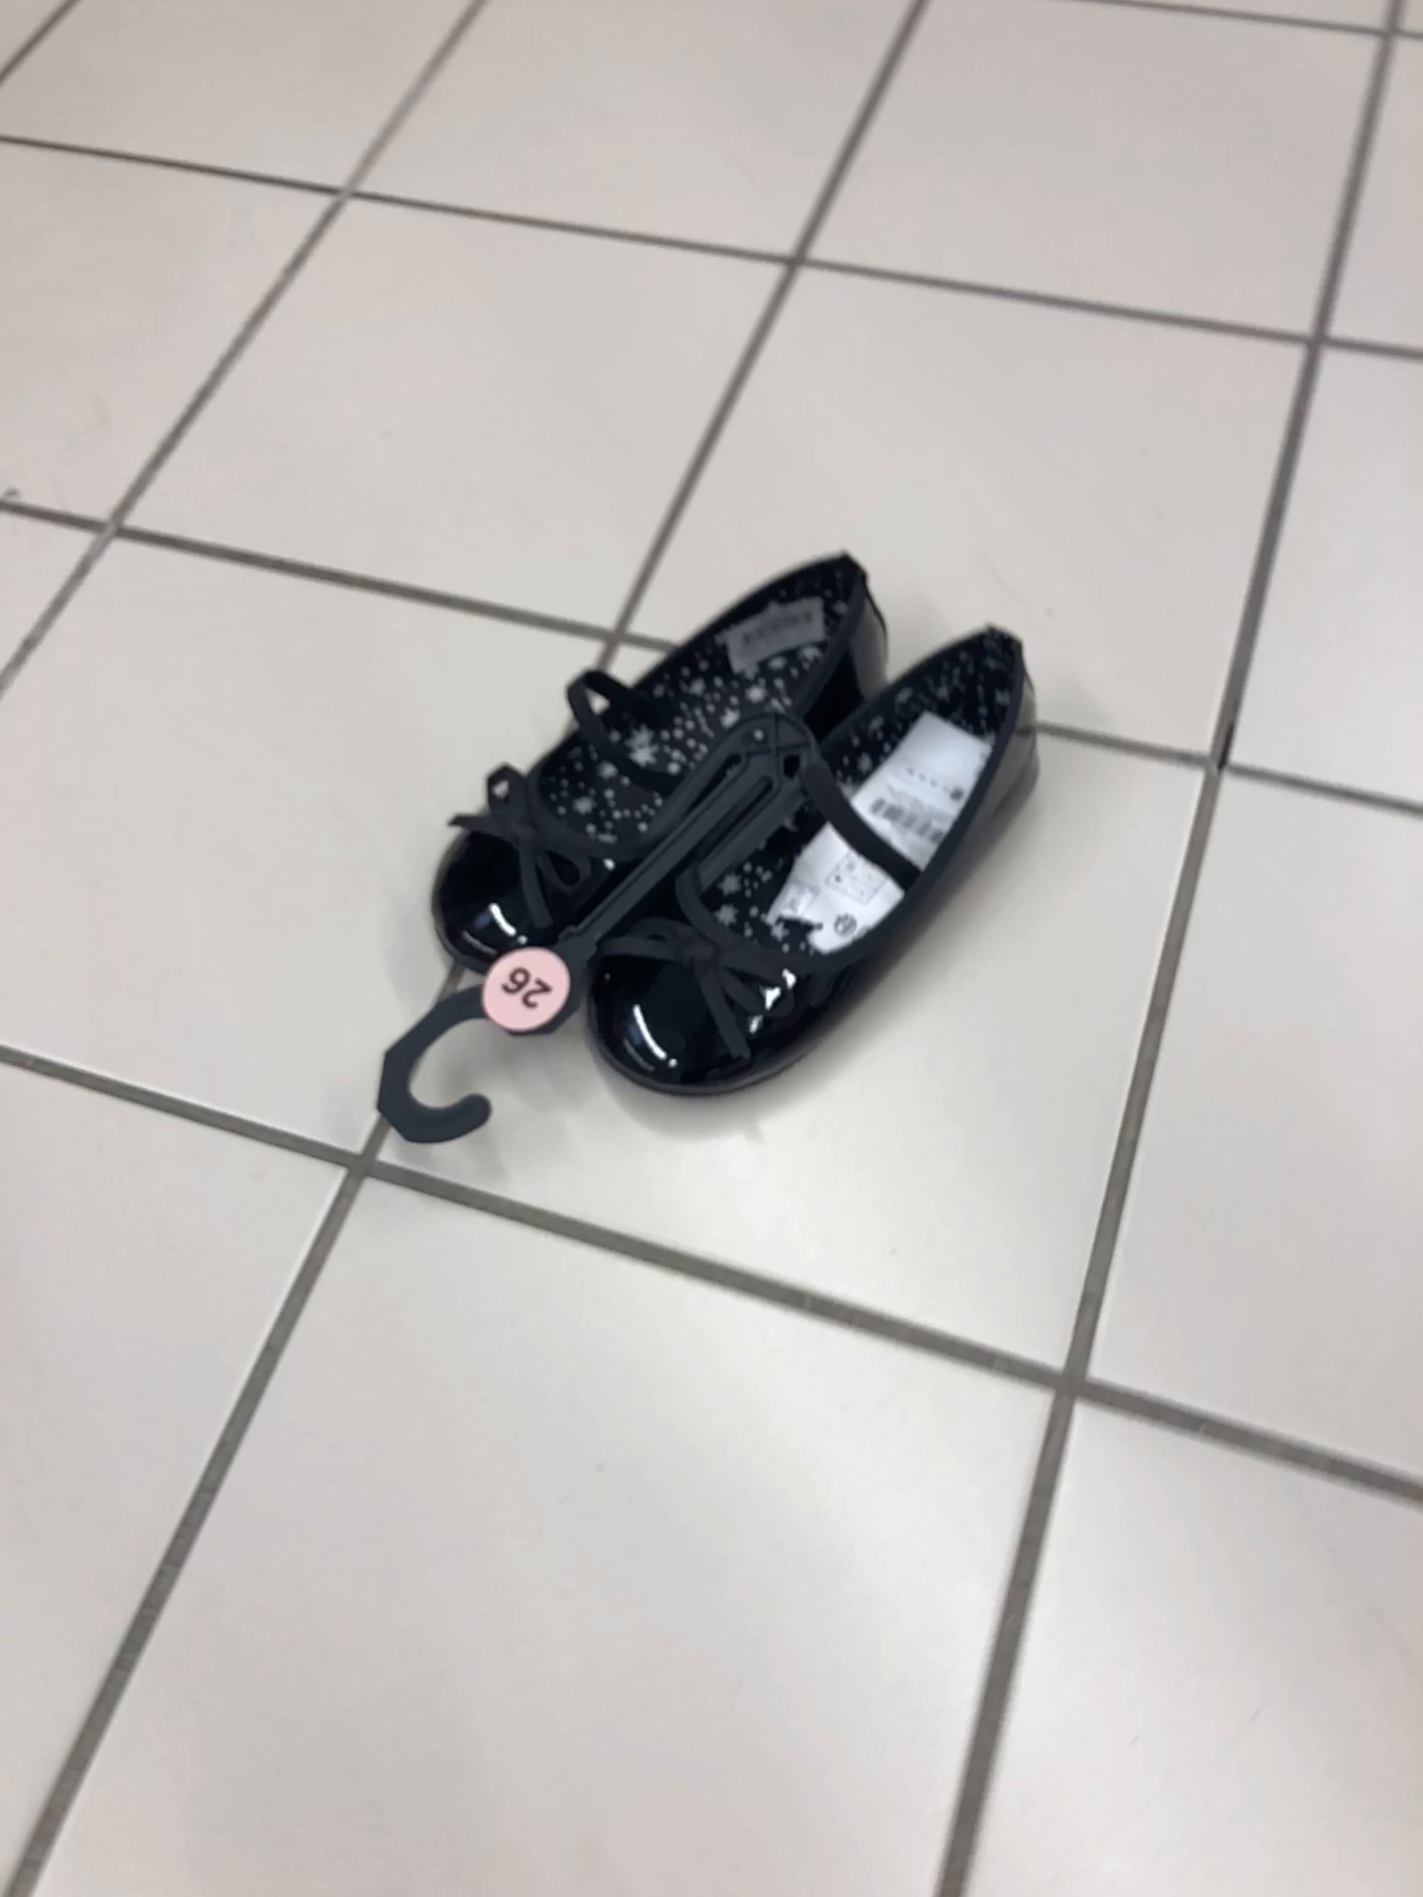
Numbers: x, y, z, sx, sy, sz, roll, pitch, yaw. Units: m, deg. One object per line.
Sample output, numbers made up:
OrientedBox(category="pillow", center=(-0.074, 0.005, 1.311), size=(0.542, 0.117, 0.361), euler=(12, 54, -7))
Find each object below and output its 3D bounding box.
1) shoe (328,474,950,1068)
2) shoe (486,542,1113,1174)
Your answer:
OrientedBox(category="shoe", center=(-0.016, -0.056, 0.472), size=(0.174, 0.059, 0.072), euler=(-41, 64, -18))
OrientedBox(category="shoe", center=(0.029, -0.030, 0.450), size=(0.074, 0.055, 0.172), euler=(37, 69, 23))
